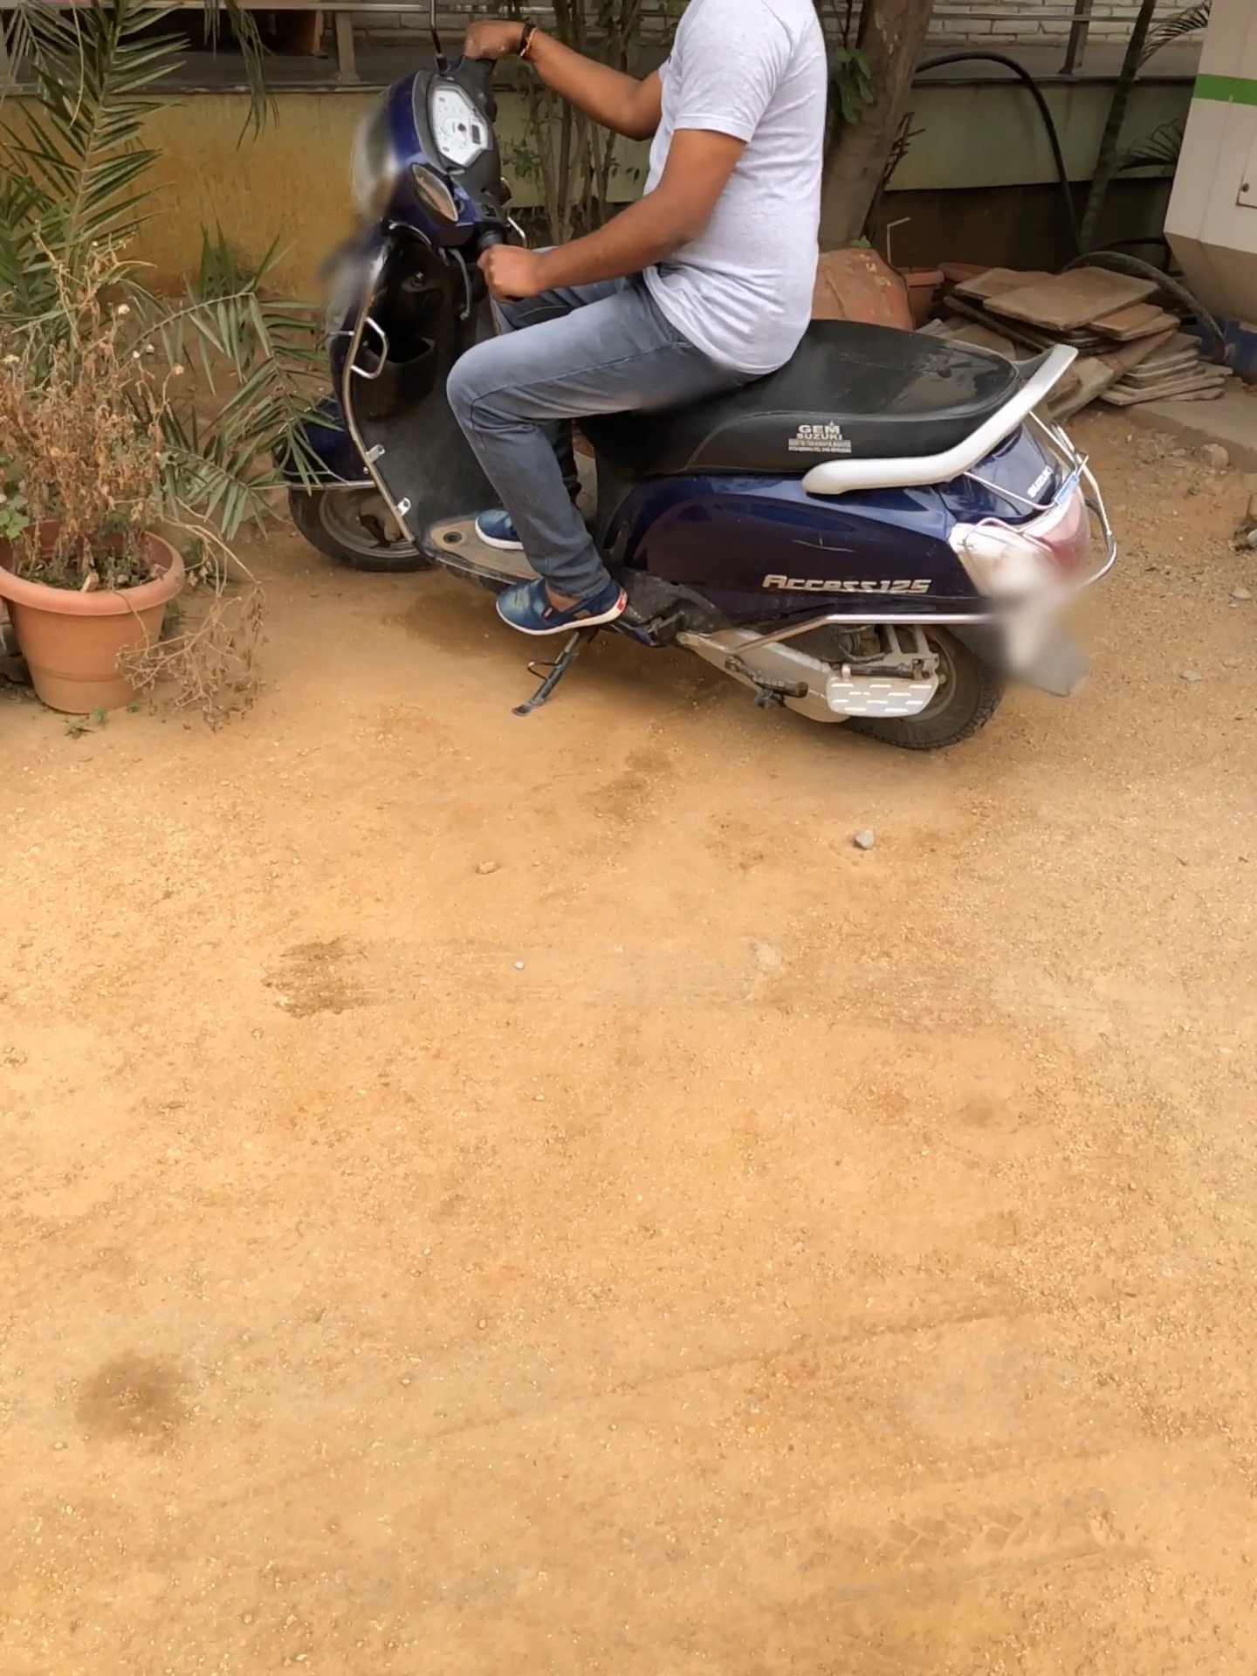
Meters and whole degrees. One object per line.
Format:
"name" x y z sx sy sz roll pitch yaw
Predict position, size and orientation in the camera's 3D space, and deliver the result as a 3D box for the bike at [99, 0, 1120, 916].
"bike" -0.069 -0.782 2.539 1.620 1.222 0.591 18 36 22
